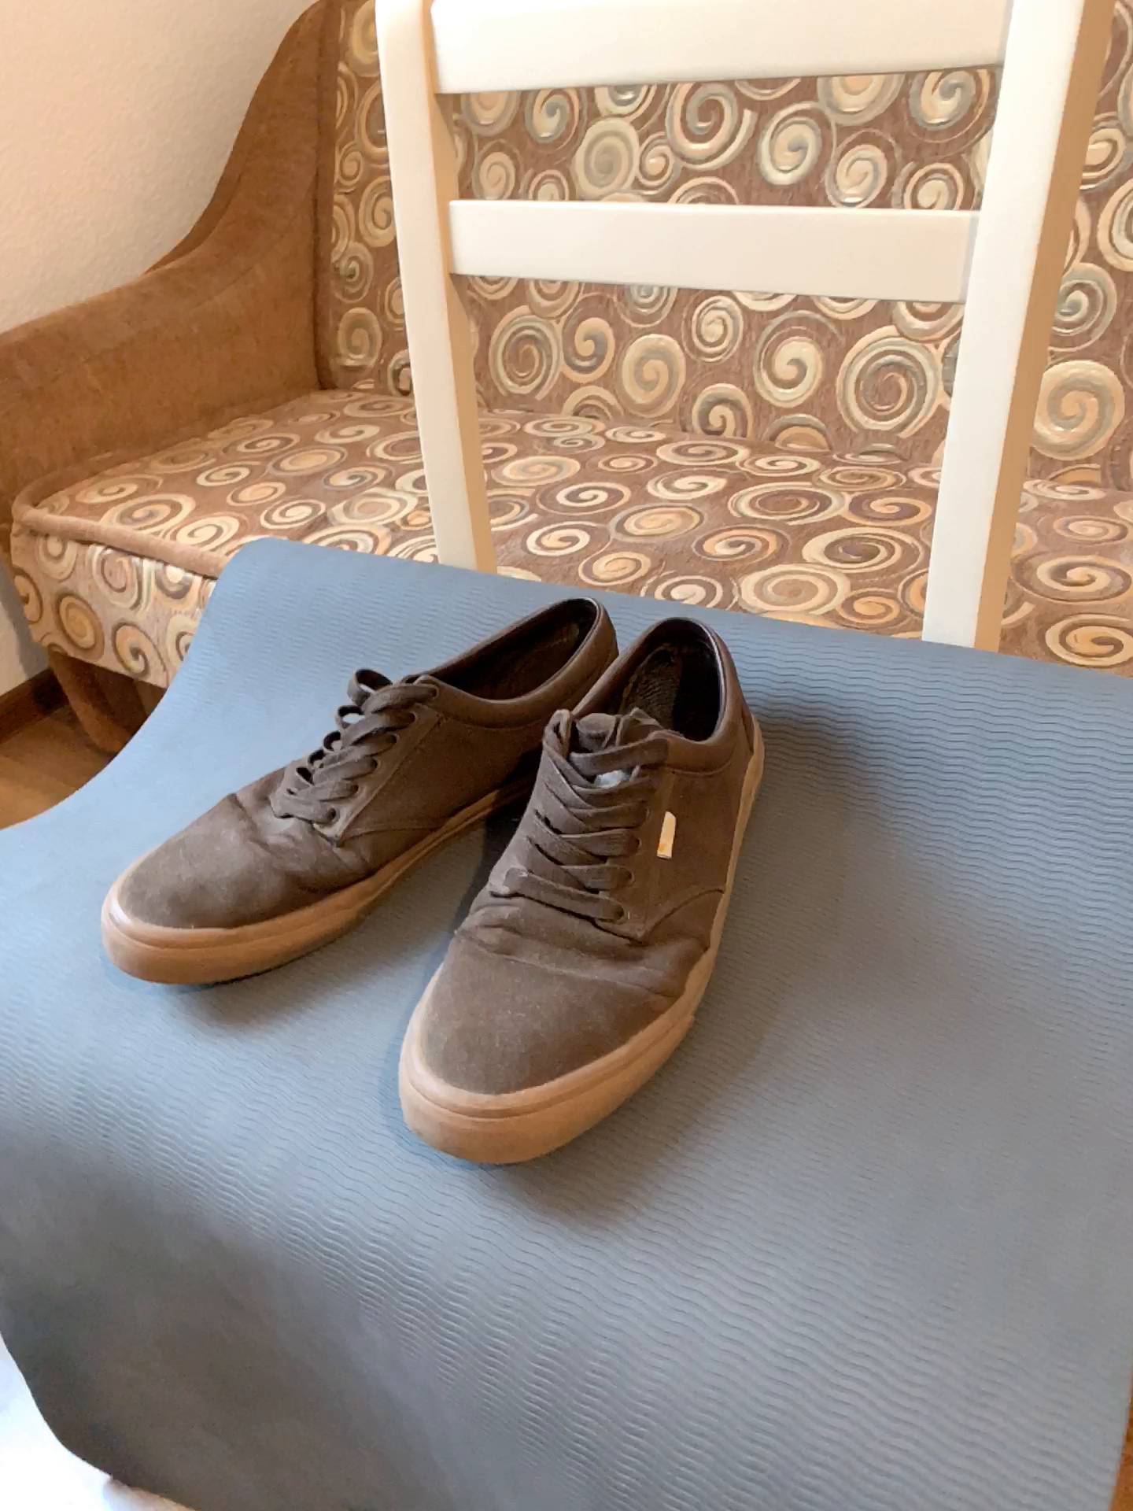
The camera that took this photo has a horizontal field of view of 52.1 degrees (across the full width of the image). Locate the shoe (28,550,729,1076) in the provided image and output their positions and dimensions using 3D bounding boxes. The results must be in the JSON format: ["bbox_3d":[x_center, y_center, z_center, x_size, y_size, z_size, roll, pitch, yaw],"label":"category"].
[{"bbox_3d":[-0.076,0.008,0.593,0.340,0.080,0.110,-31,41,-28],"label":"shoe"}]

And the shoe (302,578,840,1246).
[{"bbox_3d":[0.028,0.037,0.514,0.110,0.080,0.321,10,39,23],"label":"shoe"}]
